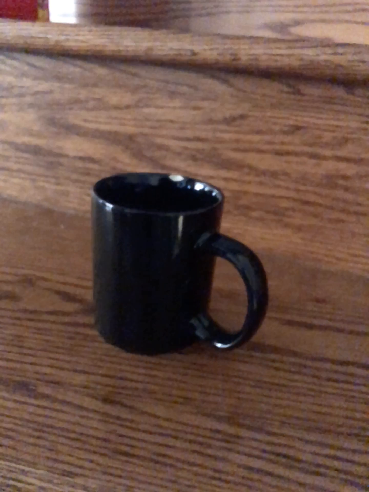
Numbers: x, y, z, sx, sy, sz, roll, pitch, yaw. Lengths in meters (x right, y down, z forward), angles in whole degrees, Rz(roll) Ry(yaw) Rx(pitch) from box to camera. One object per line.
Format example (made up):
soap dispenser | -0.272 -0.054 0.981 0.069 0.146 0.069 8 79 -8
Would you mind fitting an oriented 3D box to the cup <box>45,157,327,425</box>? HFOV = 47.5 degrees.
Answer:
cup | -0.003 0.013 0.264 0.136 0.095 0.092 22 31 31
